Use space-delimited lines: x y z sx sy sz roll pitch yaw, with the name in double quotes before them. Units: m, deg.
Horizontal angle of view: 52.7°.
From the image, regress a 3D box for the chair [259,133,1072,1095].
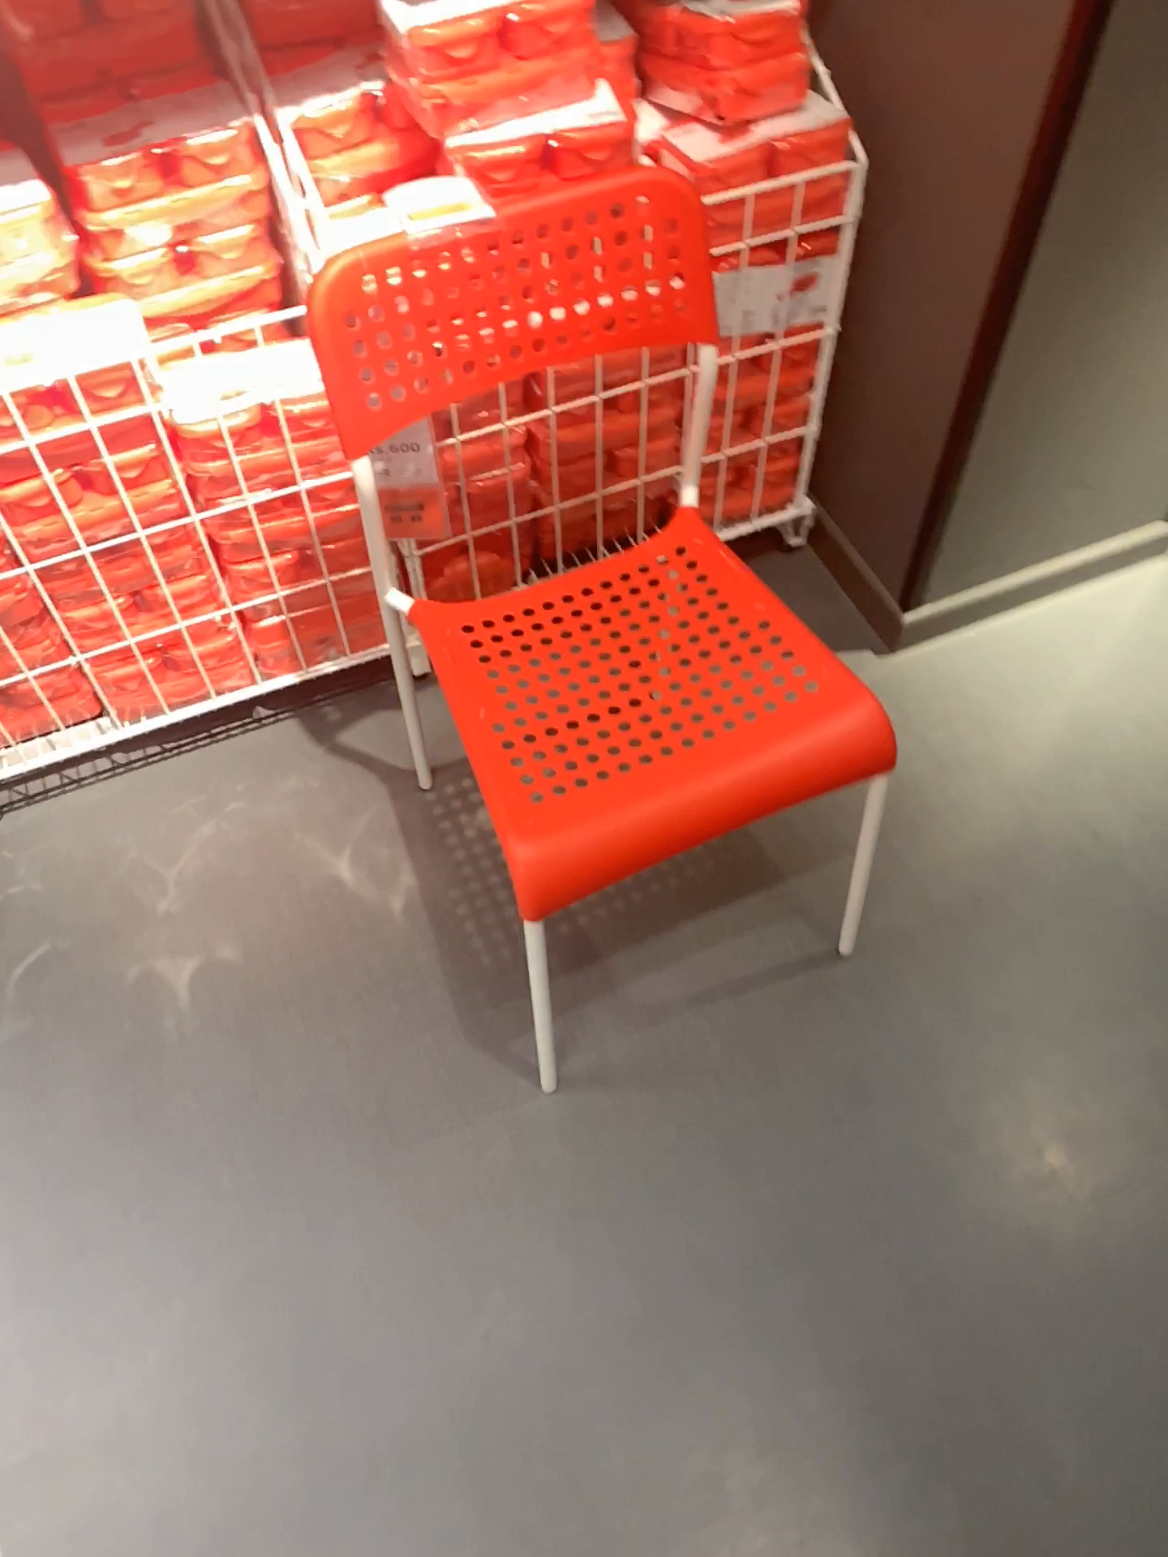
"chair" 0.037 -0.108 1.116 0.410 0.688 0.461 -21 58 -13
